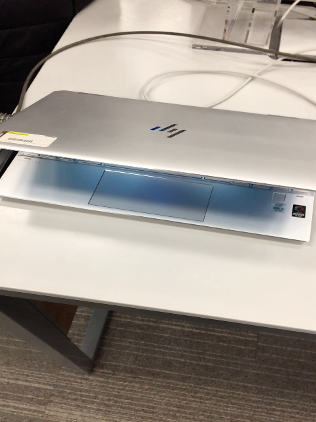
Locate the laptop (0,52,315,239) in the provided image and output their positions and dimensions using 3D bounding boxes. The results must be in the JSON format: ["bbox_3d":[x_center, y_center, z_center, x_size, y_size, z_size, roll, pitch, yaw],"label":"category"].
[{"bbox_3d":[0.002,-0.081,0.453,0.331,0.080,0.172,10,55,10],"label":"laptop"}]
